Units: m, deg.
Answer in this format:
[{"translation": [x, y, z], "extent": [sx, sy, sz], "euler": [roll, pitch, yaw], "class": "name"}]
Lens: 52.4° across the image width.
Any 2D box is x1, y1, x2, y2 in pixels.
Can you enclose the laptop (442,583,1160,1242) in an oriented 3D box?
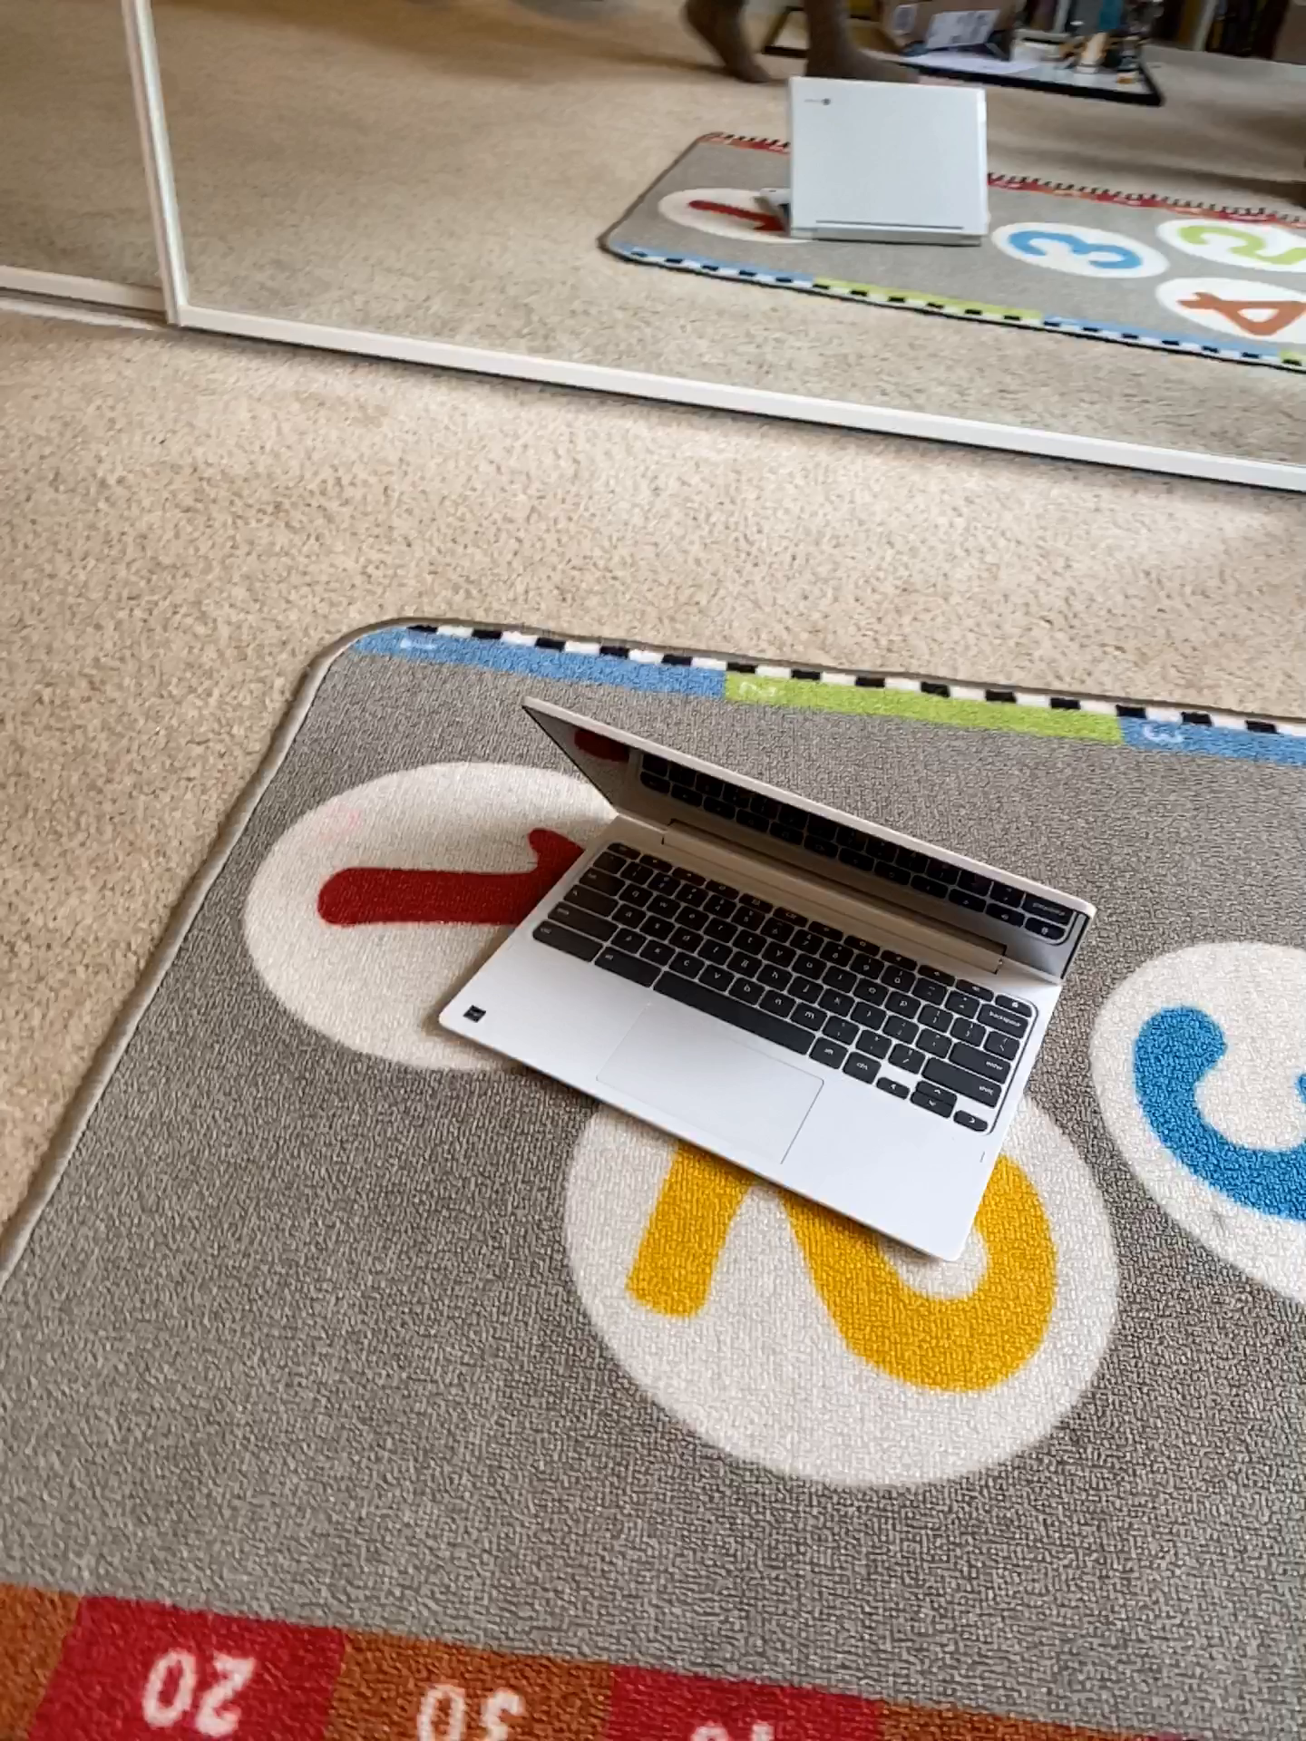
[{"translation": [0.075, 0.006, 0.703], "extent": [0.294, 0.164, 0.217], "euler": [22, 42, 16], "class": "laptop"}]
